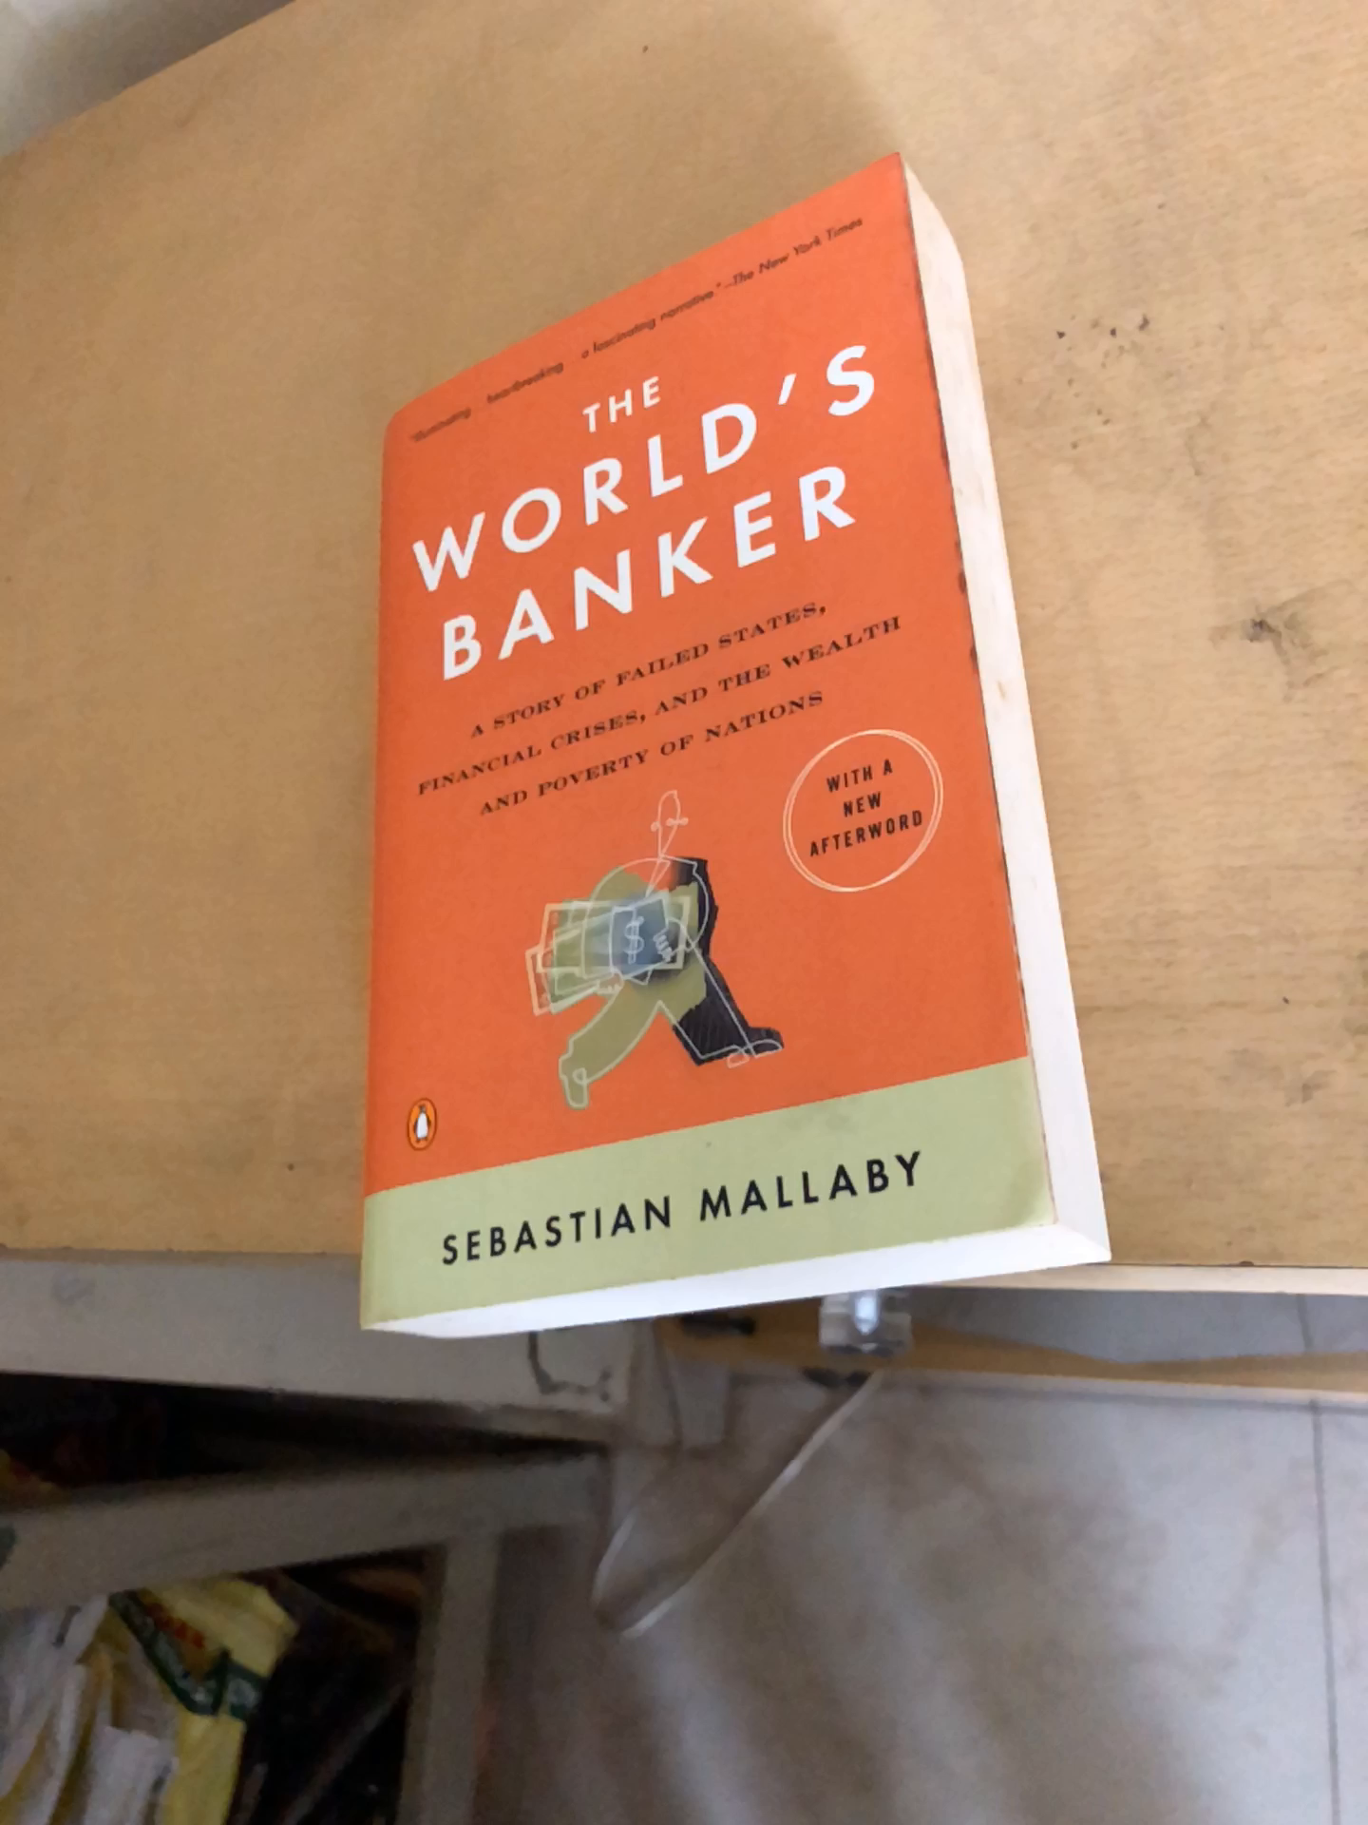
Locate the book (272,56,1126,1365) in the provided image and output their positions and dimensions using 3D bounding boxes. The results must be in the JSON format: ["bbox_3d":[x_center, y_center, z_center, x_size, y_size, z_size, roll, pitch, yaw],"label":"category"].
[{"bbox_3d":[-0.007,-0.037,0.286,0.140,0.030,0.220,-14,65,27],"label":"book"}]
